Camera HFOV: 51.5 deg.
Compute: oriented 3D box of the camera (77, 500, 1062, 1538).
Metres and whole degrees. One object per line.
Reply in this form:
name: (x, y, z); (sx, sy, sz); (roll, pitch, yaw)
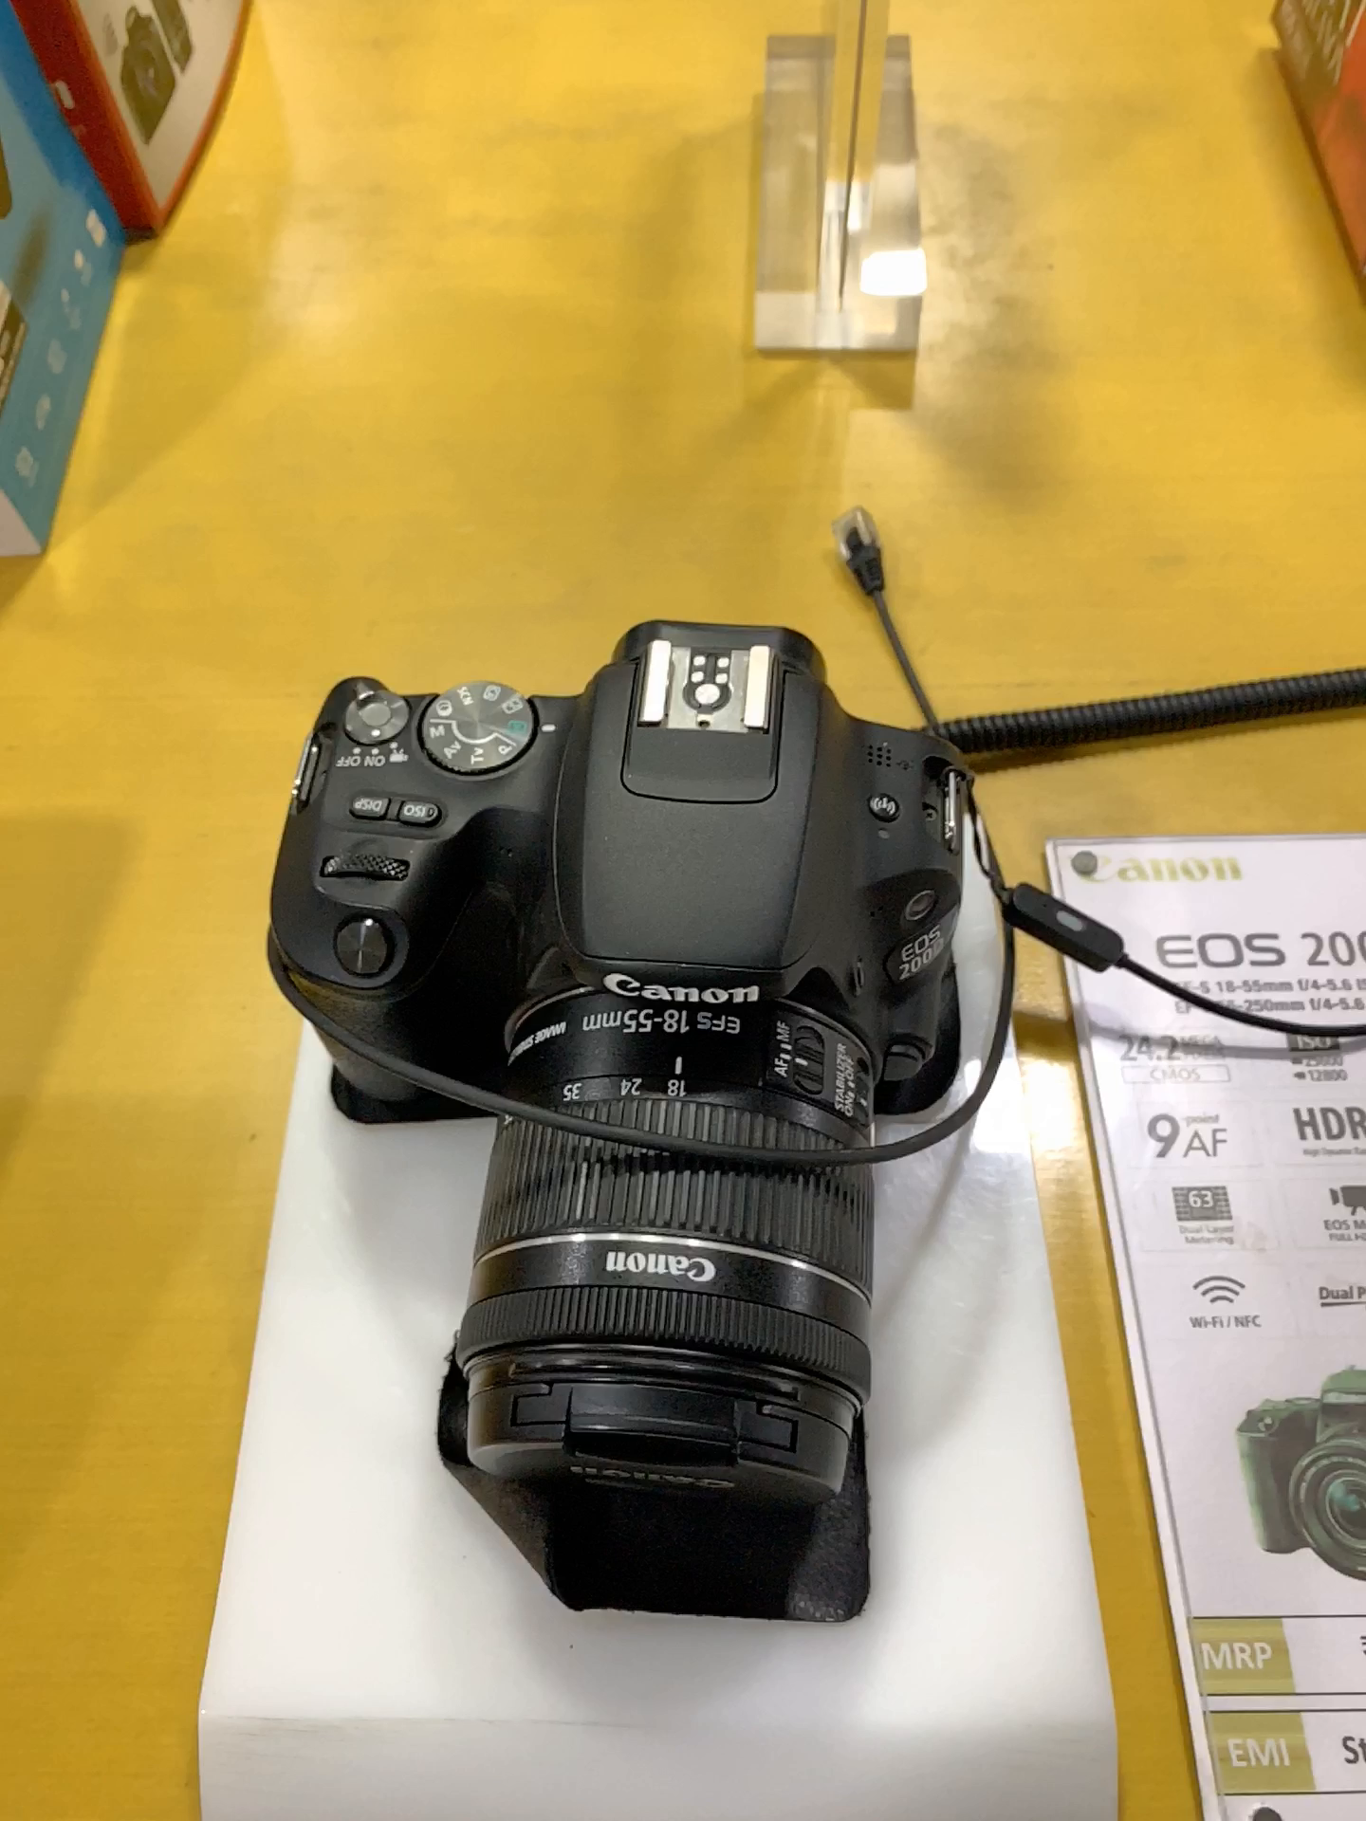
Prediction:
camera: (-0.010, 0.013, 0.244); (0.120, 0.070, 0.160); (2, 58, 3)
